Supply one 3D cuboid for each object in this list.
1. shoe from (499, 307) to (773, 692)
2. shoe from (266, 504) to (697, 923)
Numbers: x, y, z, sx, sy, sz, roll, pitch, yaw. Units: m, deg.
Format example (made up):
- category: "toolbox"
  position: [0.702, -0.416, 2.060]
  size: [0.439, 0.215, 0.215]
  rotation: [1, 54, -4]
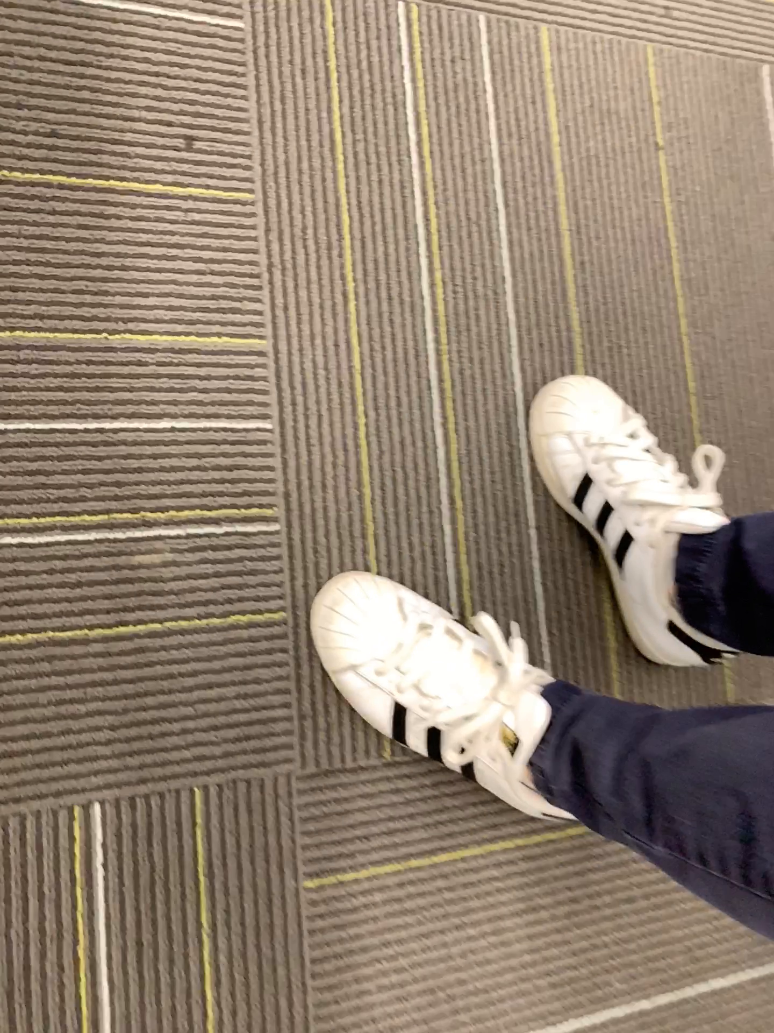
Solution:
- category: "shoe"
  position: [0.211, -0.008, 0.616]
  size: [0.106, 0.104, 0.258]
  rotation: [-29, 92, -20]
- category: "shoe"
  position: [0.060, 0.128, 0.537]
  size: [0.262, 0.104, 0.108]
  rotation: [44, 71, -8]
